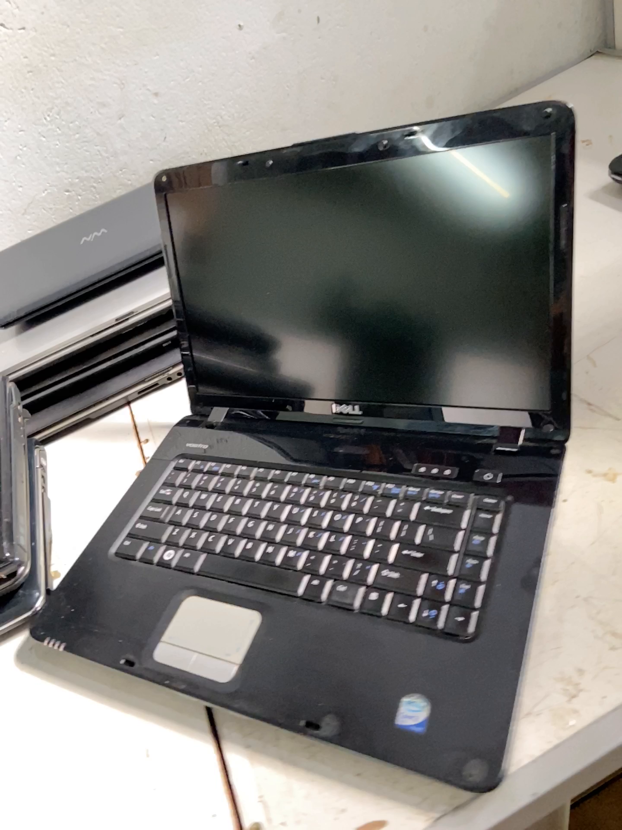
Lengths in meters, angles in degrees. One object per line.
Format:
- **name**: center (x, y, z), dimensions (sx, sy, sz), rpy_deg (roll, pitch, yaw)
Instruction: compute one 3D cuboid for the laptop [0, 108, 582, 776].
- **laptop**: center (-0.029, -0.015, 0.466), dimensions (0.365, 0.203, 0.354), rpy_deg (3, 45, 30)
